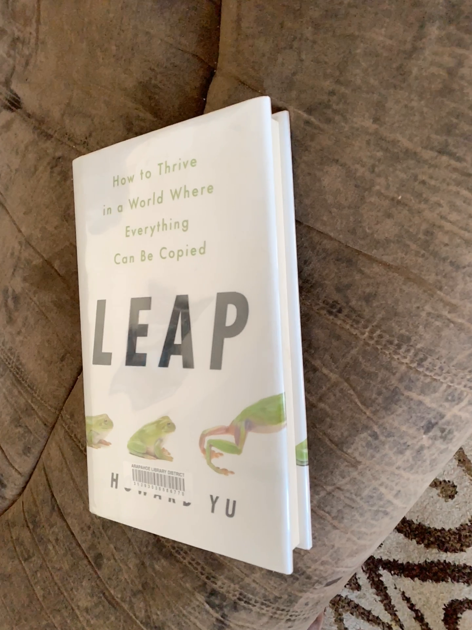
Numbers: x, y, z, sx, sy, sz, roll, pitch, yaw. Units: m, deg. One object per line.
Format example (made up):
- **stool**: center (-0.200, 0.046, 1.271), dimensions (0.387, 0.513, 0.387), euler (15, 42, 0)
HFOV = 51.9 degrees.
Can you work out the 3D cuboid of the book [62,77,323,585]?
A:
- **book**: center (-0.035, 0.010, 0.289), dimensions (0.161, 0.040, 0.235), euler (-3, 89, 37)
